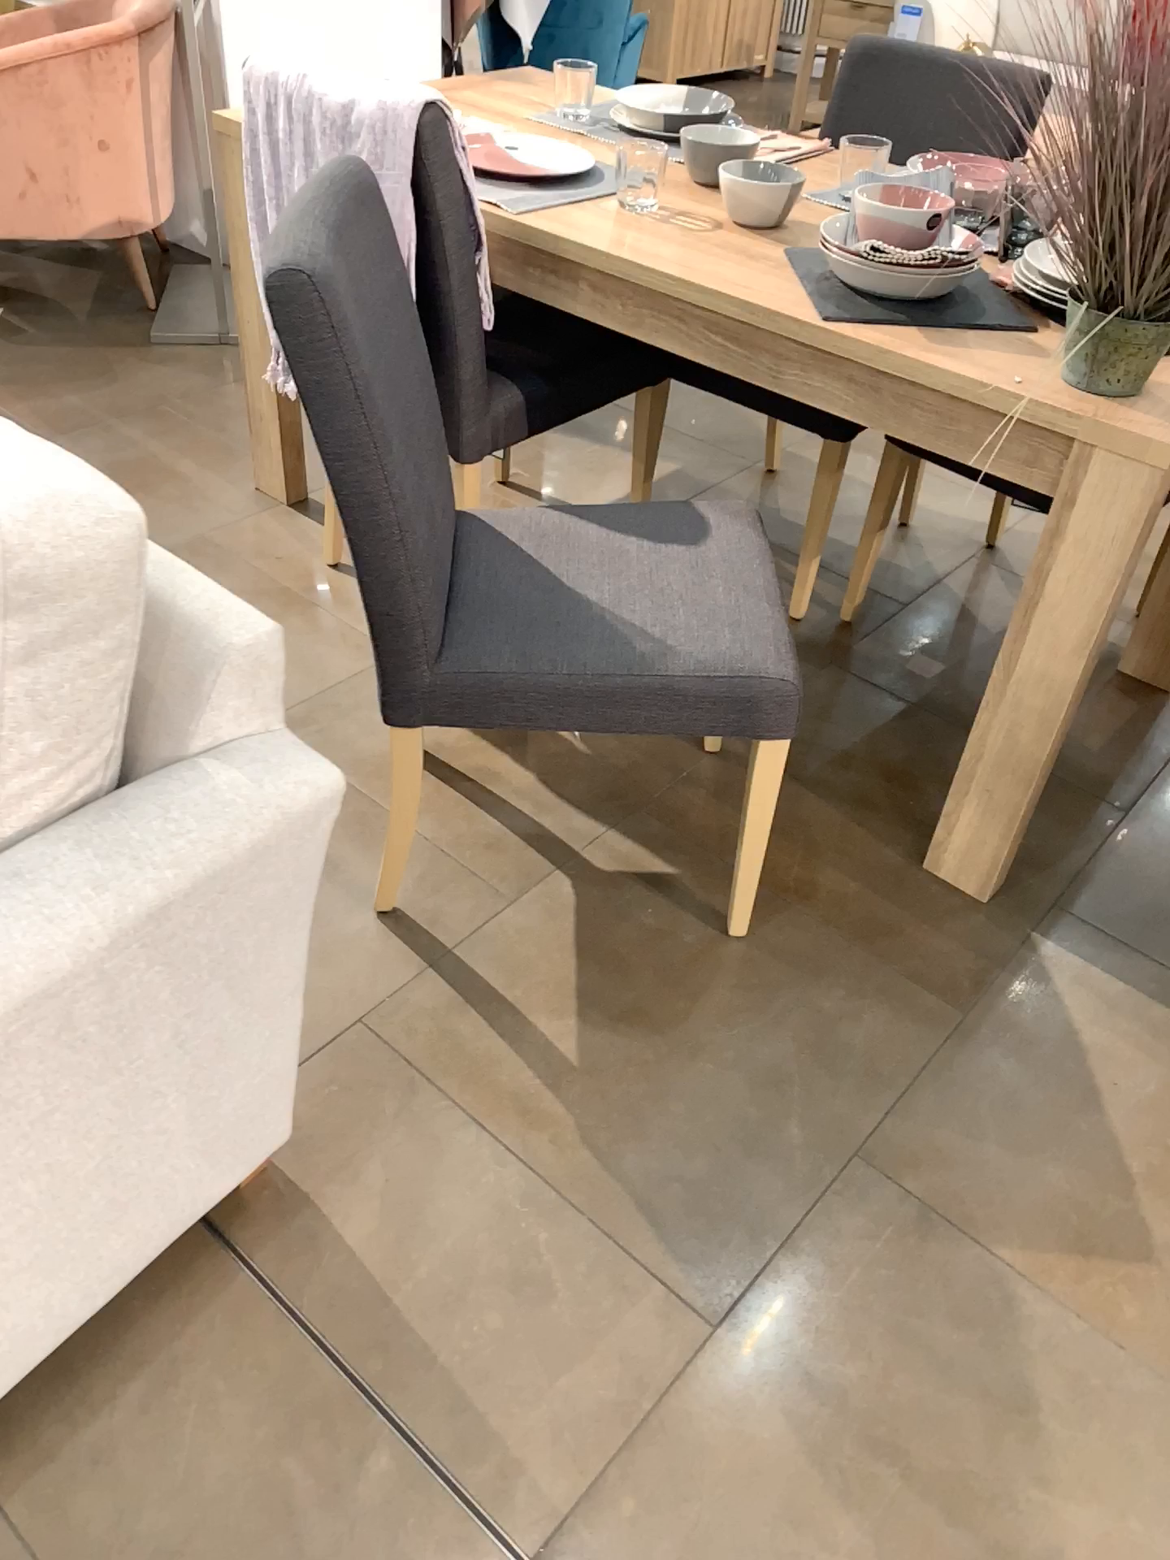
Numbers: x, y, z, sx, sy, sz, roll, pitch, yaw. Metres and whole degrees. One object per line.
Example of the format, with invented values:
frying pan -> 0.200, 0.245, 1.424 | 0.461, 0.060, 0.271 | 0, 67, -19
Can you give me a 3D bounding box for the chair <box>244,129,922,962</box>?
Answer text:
chair -> -0.026, -0.272, 1.555 | 0.614, 0.889, 0.511 | 4, 40, -2
